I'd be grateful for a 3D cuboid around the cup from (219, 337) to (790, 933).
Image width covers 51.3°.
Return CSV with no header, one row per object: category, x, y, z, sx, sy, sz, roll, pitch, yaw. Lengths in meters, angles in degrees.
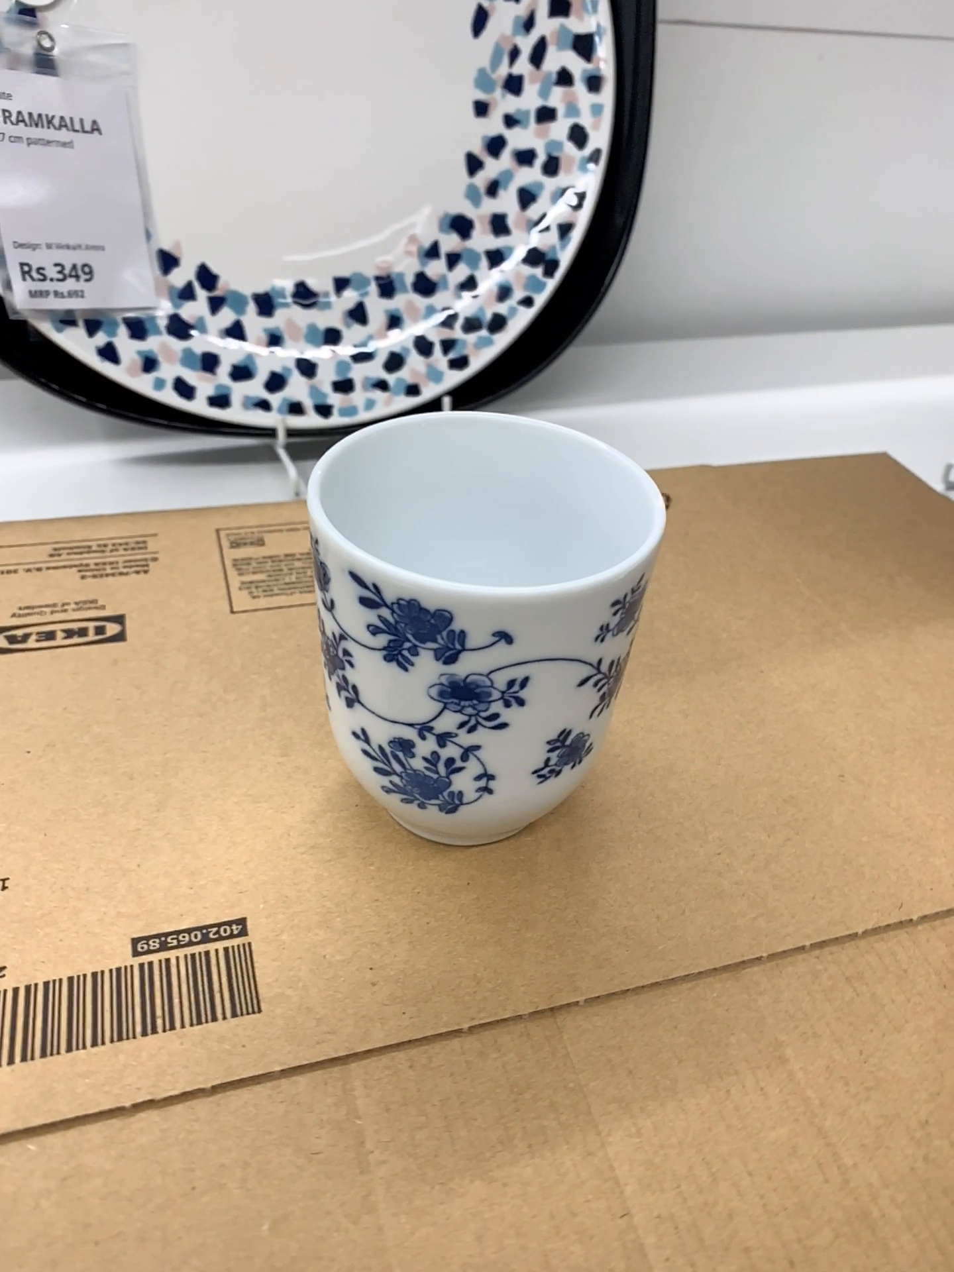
cup,0.005,-0.007,0.218,0.080,0.080,0.080,3,35,-2
